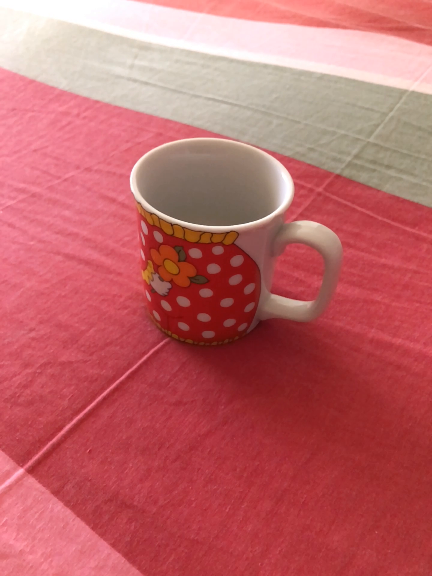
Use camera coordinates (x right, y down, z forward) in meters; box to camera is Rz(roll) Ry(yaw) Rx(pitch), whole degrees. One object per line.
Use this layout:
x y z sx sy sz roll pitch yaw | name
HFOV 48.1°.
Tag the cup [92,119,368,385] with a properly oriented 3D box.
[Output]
0.010 -0.023 0.273 0.116 0.086 0.089 17 48 12 | cup
